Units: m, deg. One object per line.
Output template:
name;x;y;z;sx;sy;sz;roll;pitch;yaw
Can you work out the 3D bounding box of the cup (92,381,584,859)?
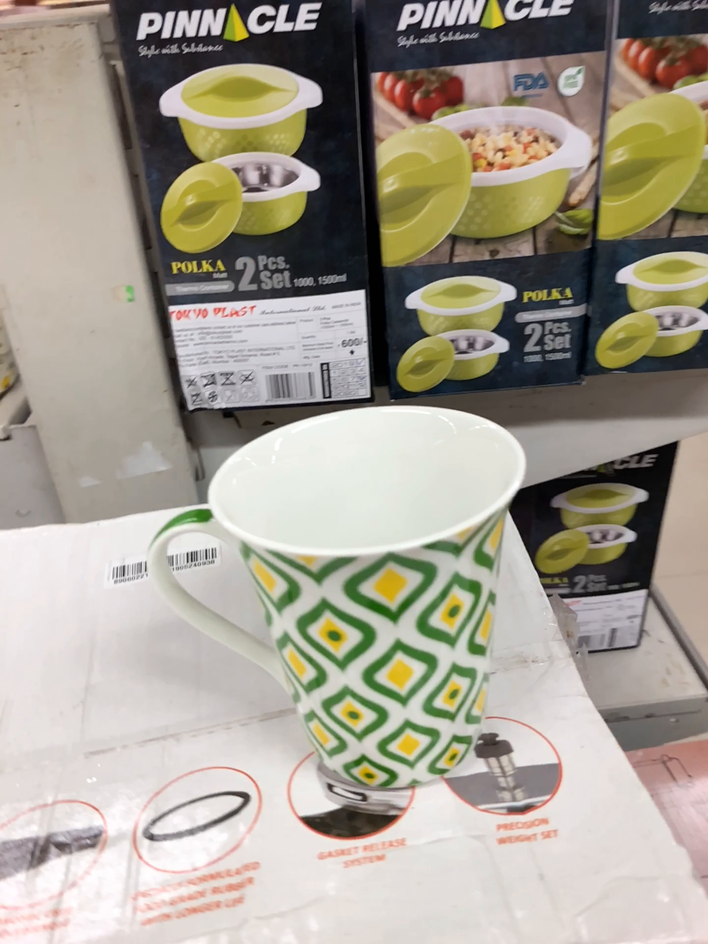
cup;-0.003;0.036;0.234;0.110;0.089;0.090;-7;25;-4
